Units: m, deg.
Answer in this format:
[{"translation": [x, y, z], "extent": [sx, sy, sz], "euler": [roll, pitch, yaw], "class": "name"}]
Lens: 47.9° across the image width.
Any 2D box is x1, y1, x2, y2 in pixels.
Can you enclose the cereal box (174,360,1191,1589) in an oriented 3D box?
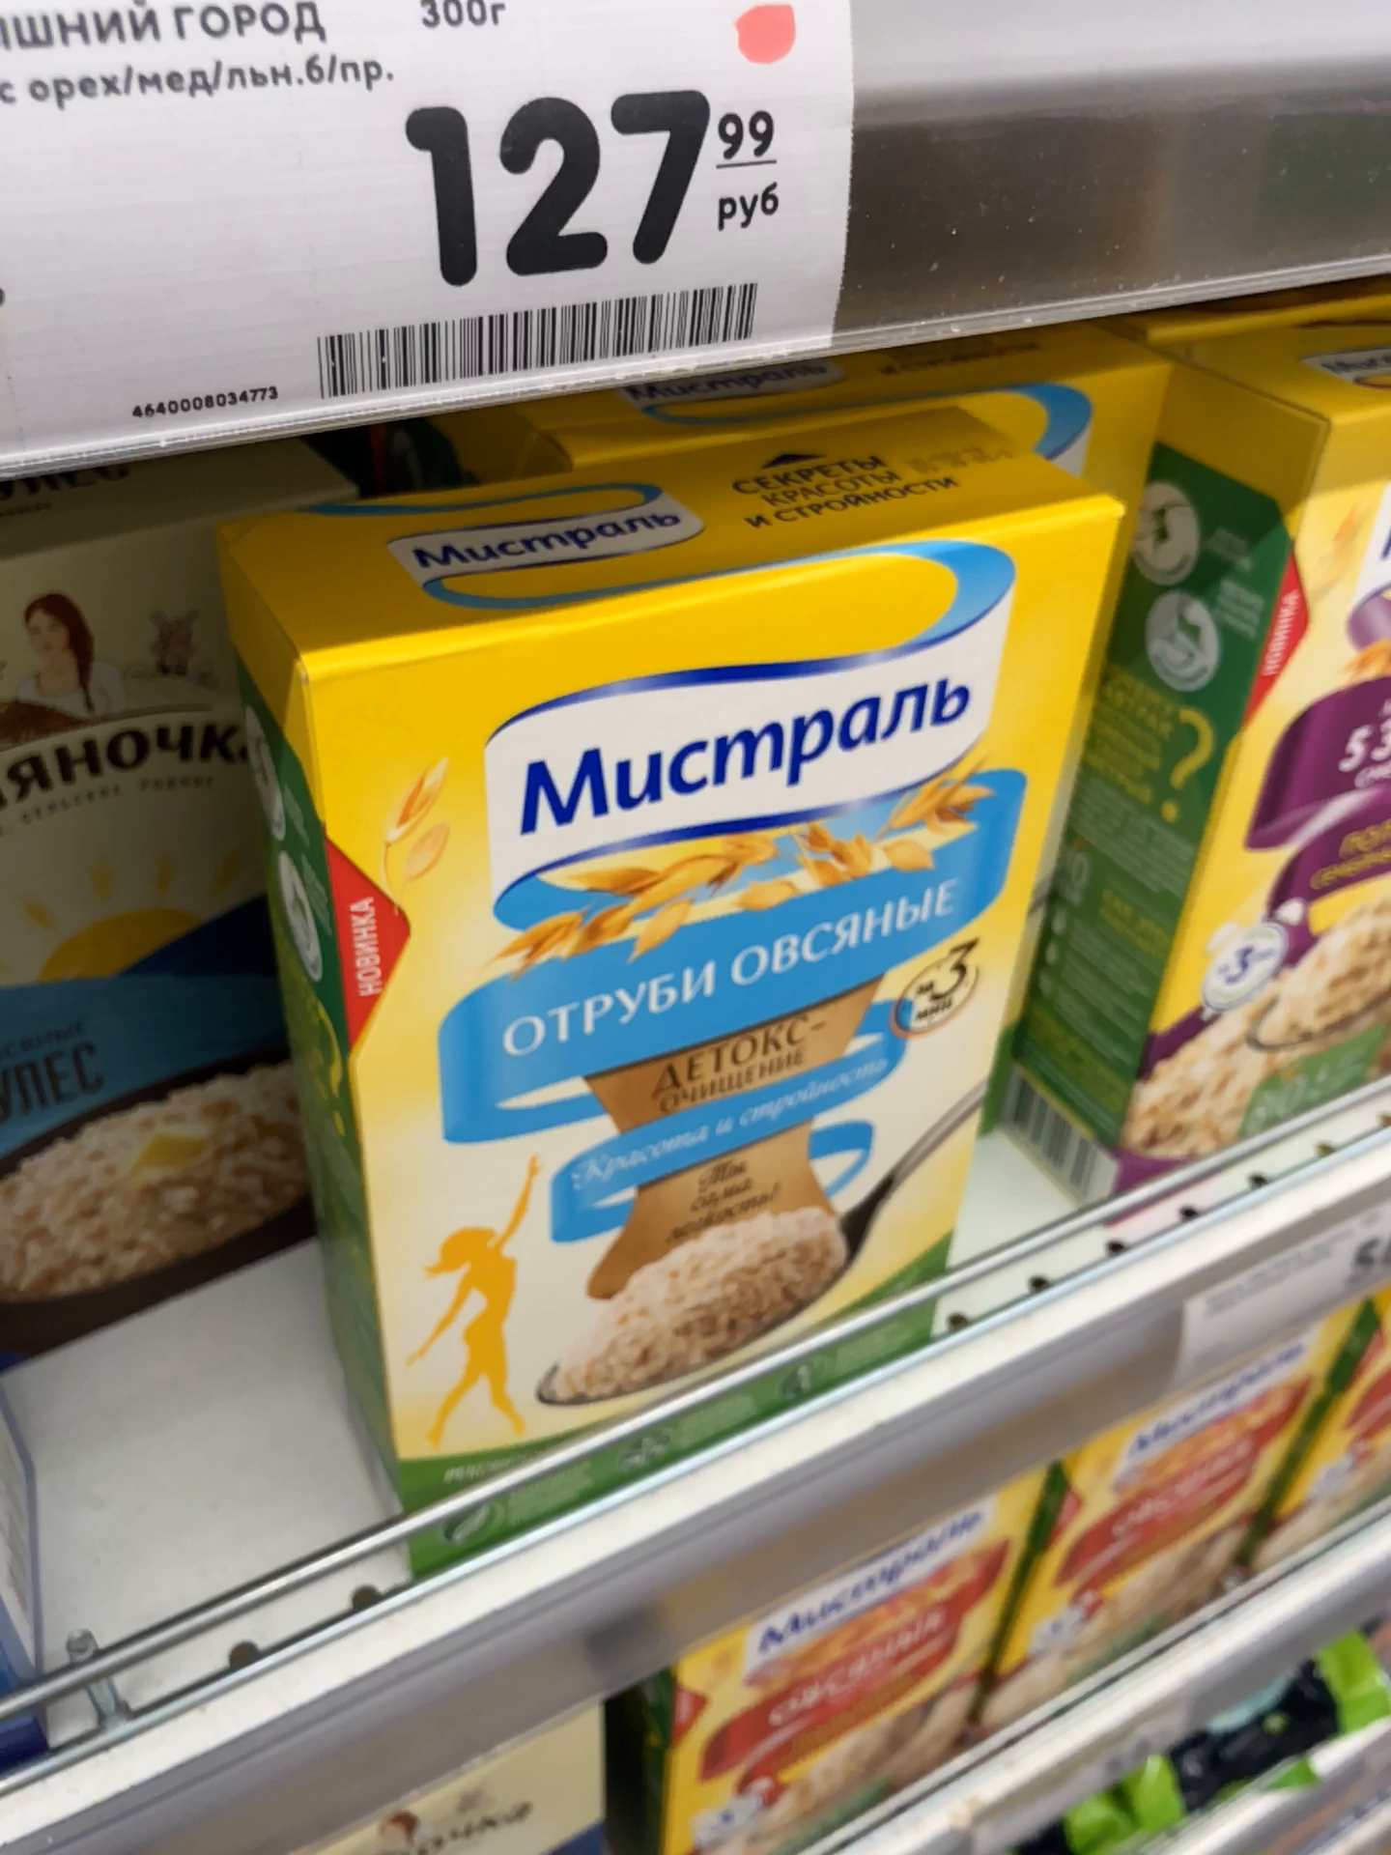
[{"translation": [-0.002, 0.017, 0.291], "extent": [0.140, 0.209, 0.050], "euler": [-17, 42, -23], "class": "cereal box"}]
